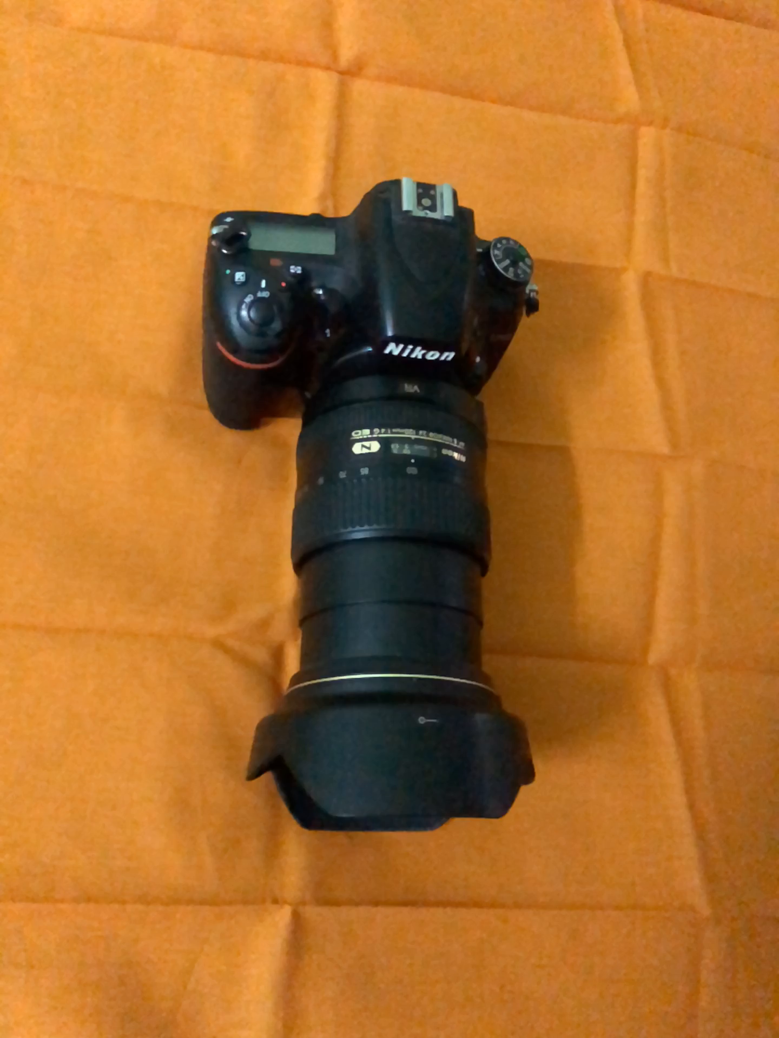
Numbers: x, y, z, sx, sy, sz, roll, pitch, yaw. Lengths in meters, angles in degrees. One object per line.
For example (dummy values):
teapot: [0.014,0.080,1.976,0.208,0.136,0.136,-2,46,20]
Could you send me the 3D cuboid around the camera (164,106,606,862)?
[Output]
camera: [-0.013,-0.008,0.349,0.131,0.120,0.264,2,71,-11]
